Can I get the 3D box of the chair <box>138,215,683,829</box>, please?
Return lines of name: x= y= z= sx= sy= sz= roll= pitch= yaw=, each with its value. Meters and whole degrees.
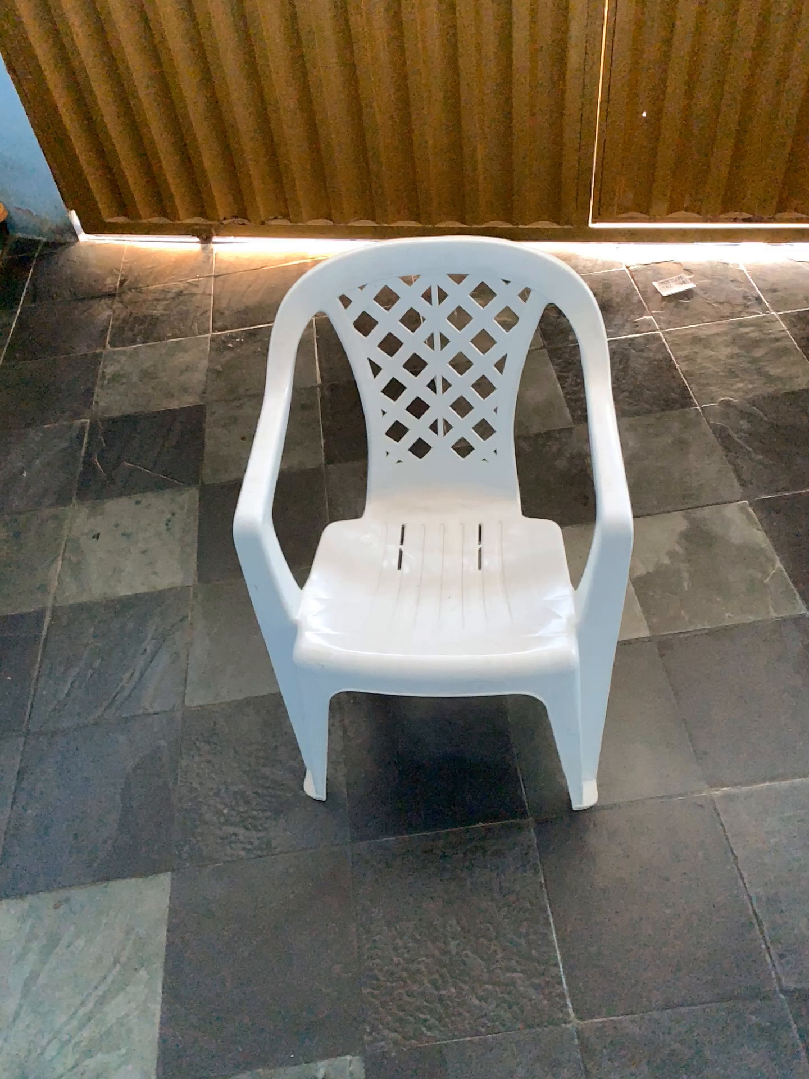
chair: x=0.038 y=0.010 z=1.277 sx=0.540 sy=0.717 sz=0.593 roll=-3 pitch=49 yaw=5
